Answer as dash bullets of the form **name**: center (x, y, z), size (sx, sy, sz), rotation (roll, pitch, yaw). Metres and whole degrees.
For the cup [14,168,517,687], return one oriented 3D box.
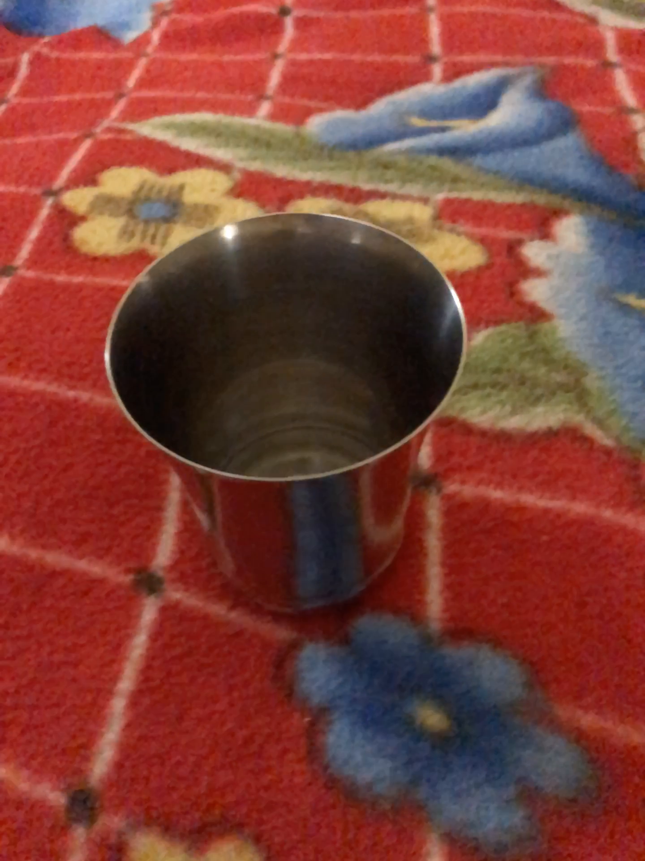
- **cup**: center (-0.005, 0.001, 0.190), size (0.089, 0.090, 0.087), rotation (0, 52, 0)
